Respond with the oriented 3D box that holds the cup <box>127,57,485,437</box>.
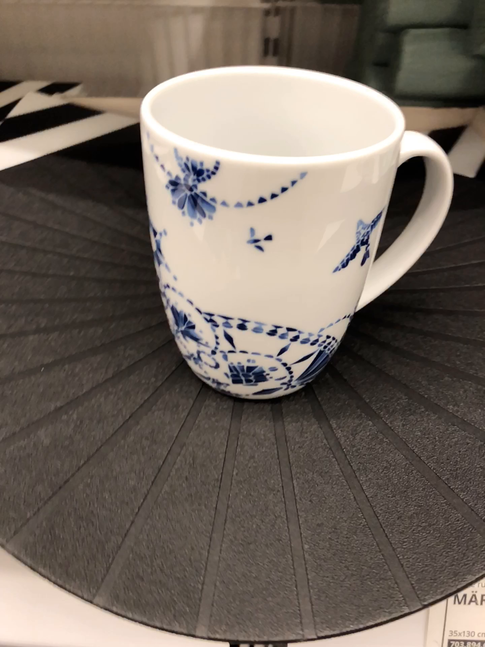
[{"bbox_3d":[0.028,-0.036,0.216,0.130,0.100,0.100,-6,41,-9],"label":"cup"}]
